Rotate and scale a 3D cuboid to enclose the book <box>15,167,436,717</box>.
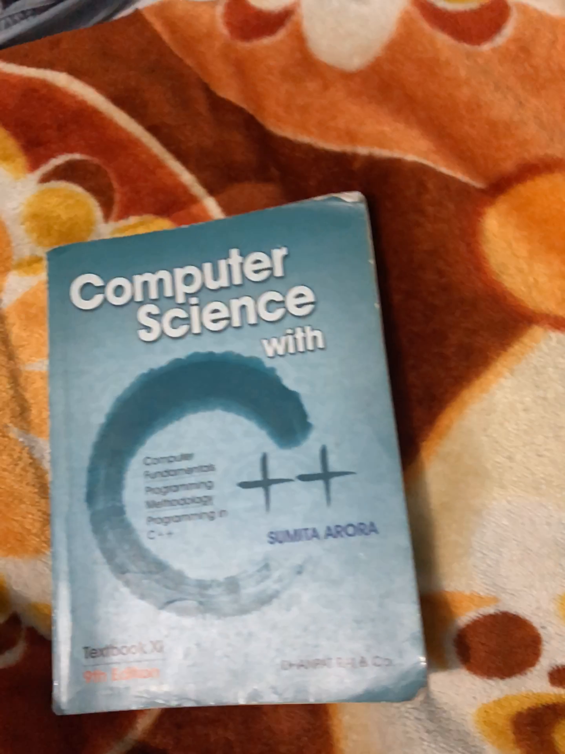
[{"bbox_3d":[-0.041,0.033,0.355,0.210,0.040,0.270,-7,78,9],"label":"book"}]
